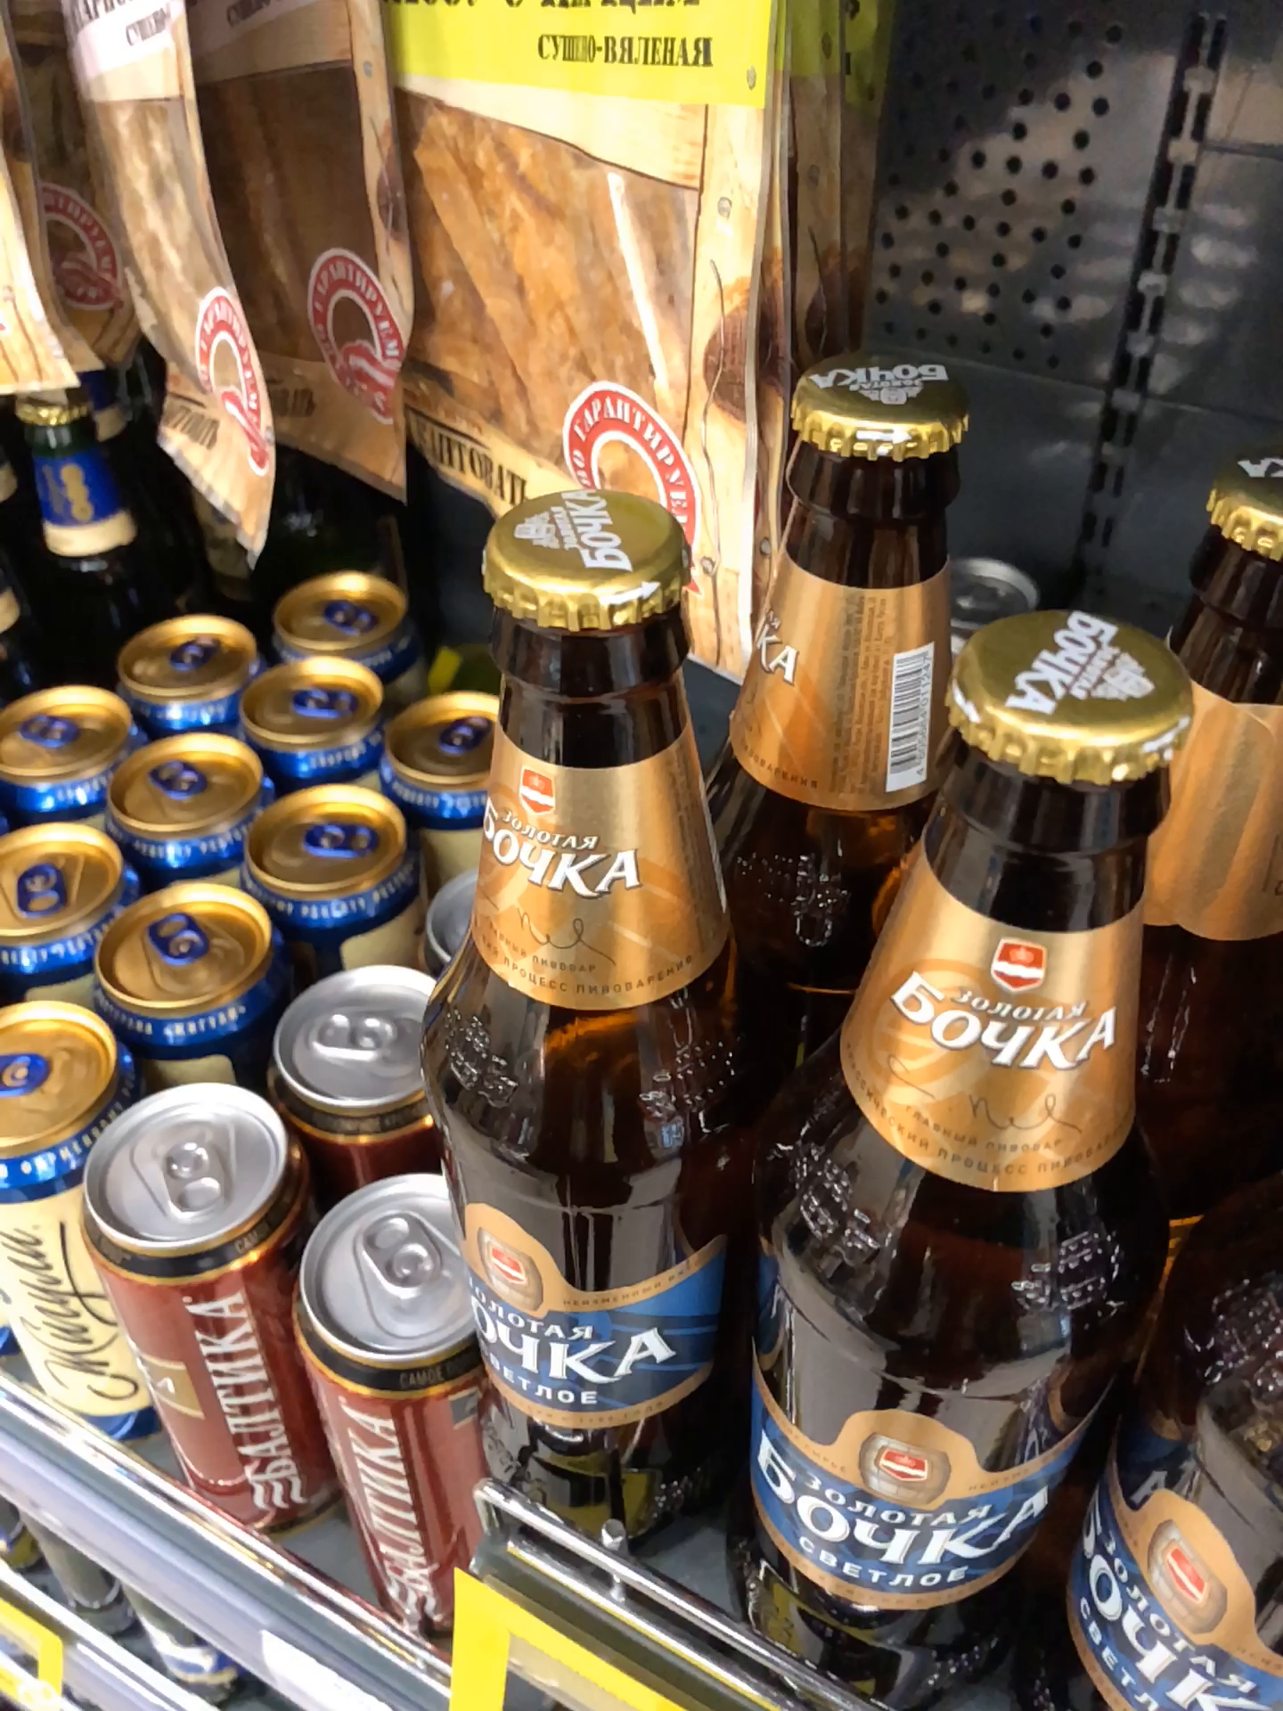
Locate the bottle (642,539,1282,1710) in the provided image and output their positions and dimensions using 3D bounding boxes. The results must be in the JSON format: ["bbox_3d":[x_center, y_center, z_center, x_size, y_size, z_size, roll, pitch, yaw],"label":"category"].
[{"bbox_3d":[0.043,0.072,0.231,0.070,0.234,0.060,10,42,12],"label":"bottle"}]

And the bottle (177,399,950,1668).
[{"bbox_3d":[-0.008,0.050,0.260,0.070,0.234,0.070,0,41,0],"label":"bottle"}]
